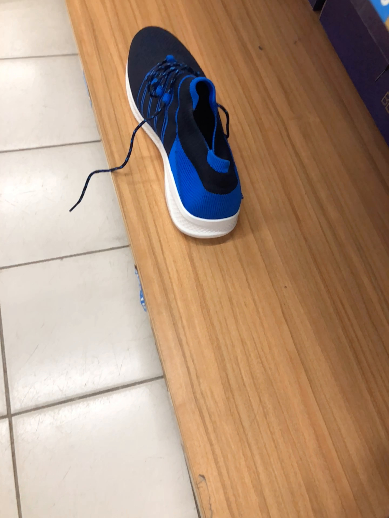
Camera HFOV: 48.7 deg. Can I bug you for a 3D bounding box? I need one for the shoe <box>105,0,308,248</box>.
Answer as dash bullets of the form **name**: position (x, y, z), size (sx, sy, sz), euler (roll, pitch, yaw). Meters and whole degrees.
- **shoe**: position (-0.004, -0.162, 0.446), size (0.110, 0.110, 0.260), euler (-14, 69, -15)
